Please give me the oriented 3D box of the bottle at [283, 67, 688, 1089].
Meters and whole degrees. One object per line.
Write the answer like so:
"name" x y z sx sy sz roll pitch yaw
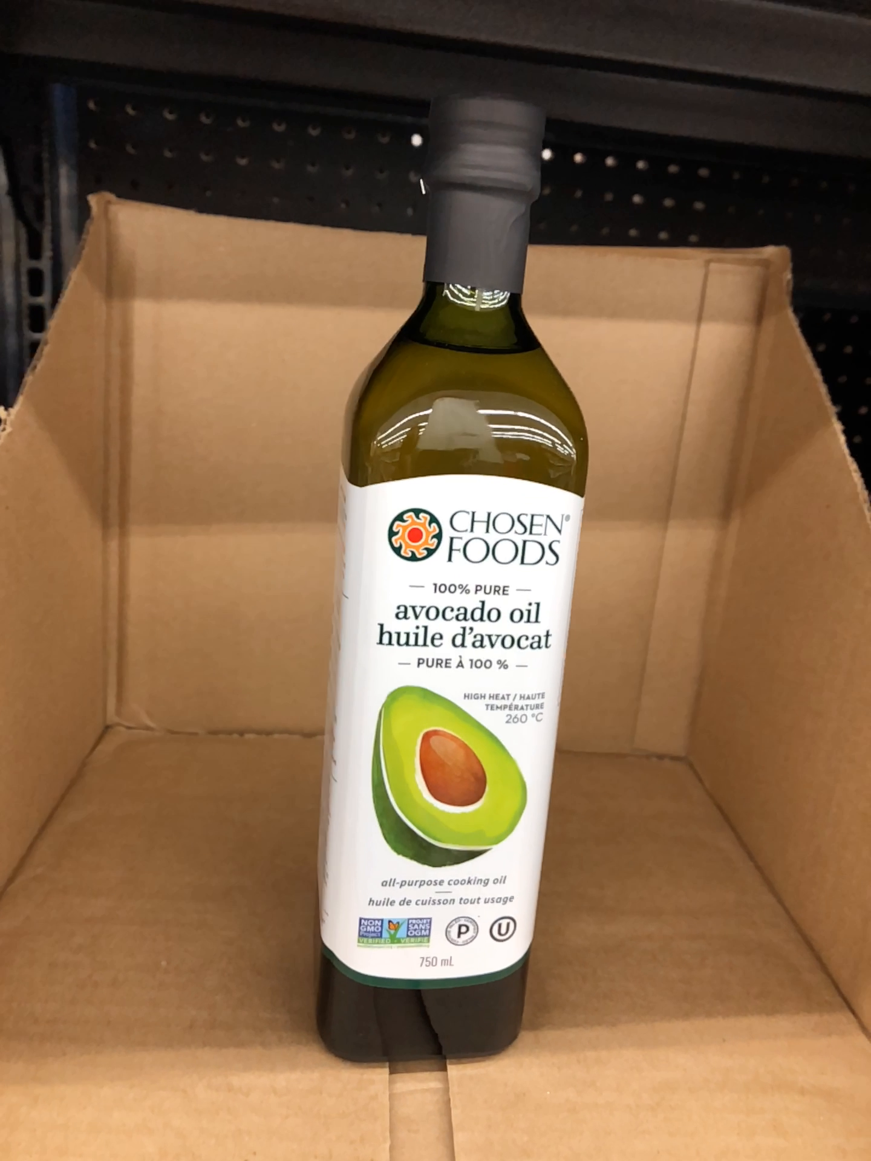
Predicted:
"bottle" 0.001 0.014 0.318 0.090 0.308 0.070 2 18 -10
